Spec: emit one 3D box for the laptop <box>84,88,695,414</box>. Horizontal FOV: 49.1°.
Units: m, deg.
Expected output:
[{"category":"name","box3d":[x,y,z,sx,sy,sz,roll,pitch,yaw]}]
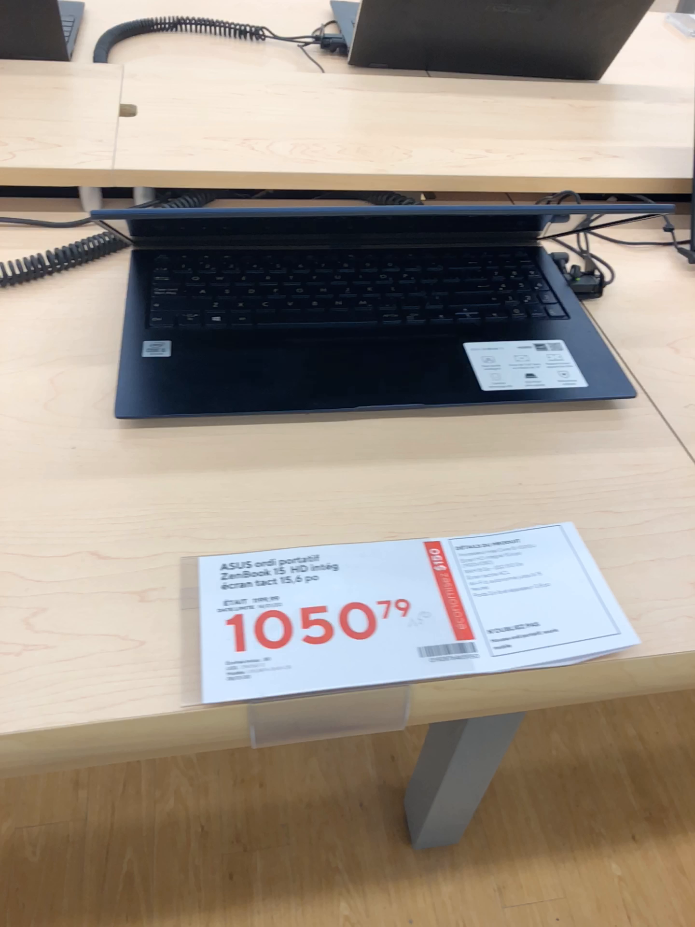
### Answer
[{"category":"laptop","box3d":[0.019,-0.154,0.526,0.346,0.119,0.204,-3,45,-10]}]
